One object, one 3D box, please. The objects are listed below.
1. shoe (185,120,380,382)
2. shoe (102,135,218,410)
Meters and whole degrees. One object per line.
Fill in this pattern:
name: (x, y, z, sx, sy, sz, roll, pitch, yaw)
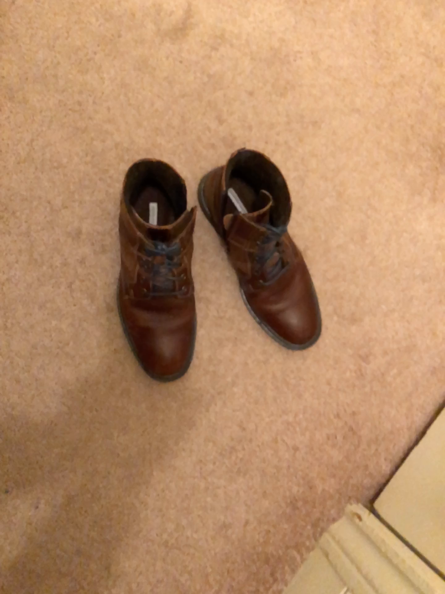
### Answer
shoe: (0.070, -0.055, 0.687, 0.110, 0.173, 0.301, -26, 93, -8)
shoe: (-0.086, -0.031, 0.663, 0.113, 0.173, 0.315, -4, 90, -9)
